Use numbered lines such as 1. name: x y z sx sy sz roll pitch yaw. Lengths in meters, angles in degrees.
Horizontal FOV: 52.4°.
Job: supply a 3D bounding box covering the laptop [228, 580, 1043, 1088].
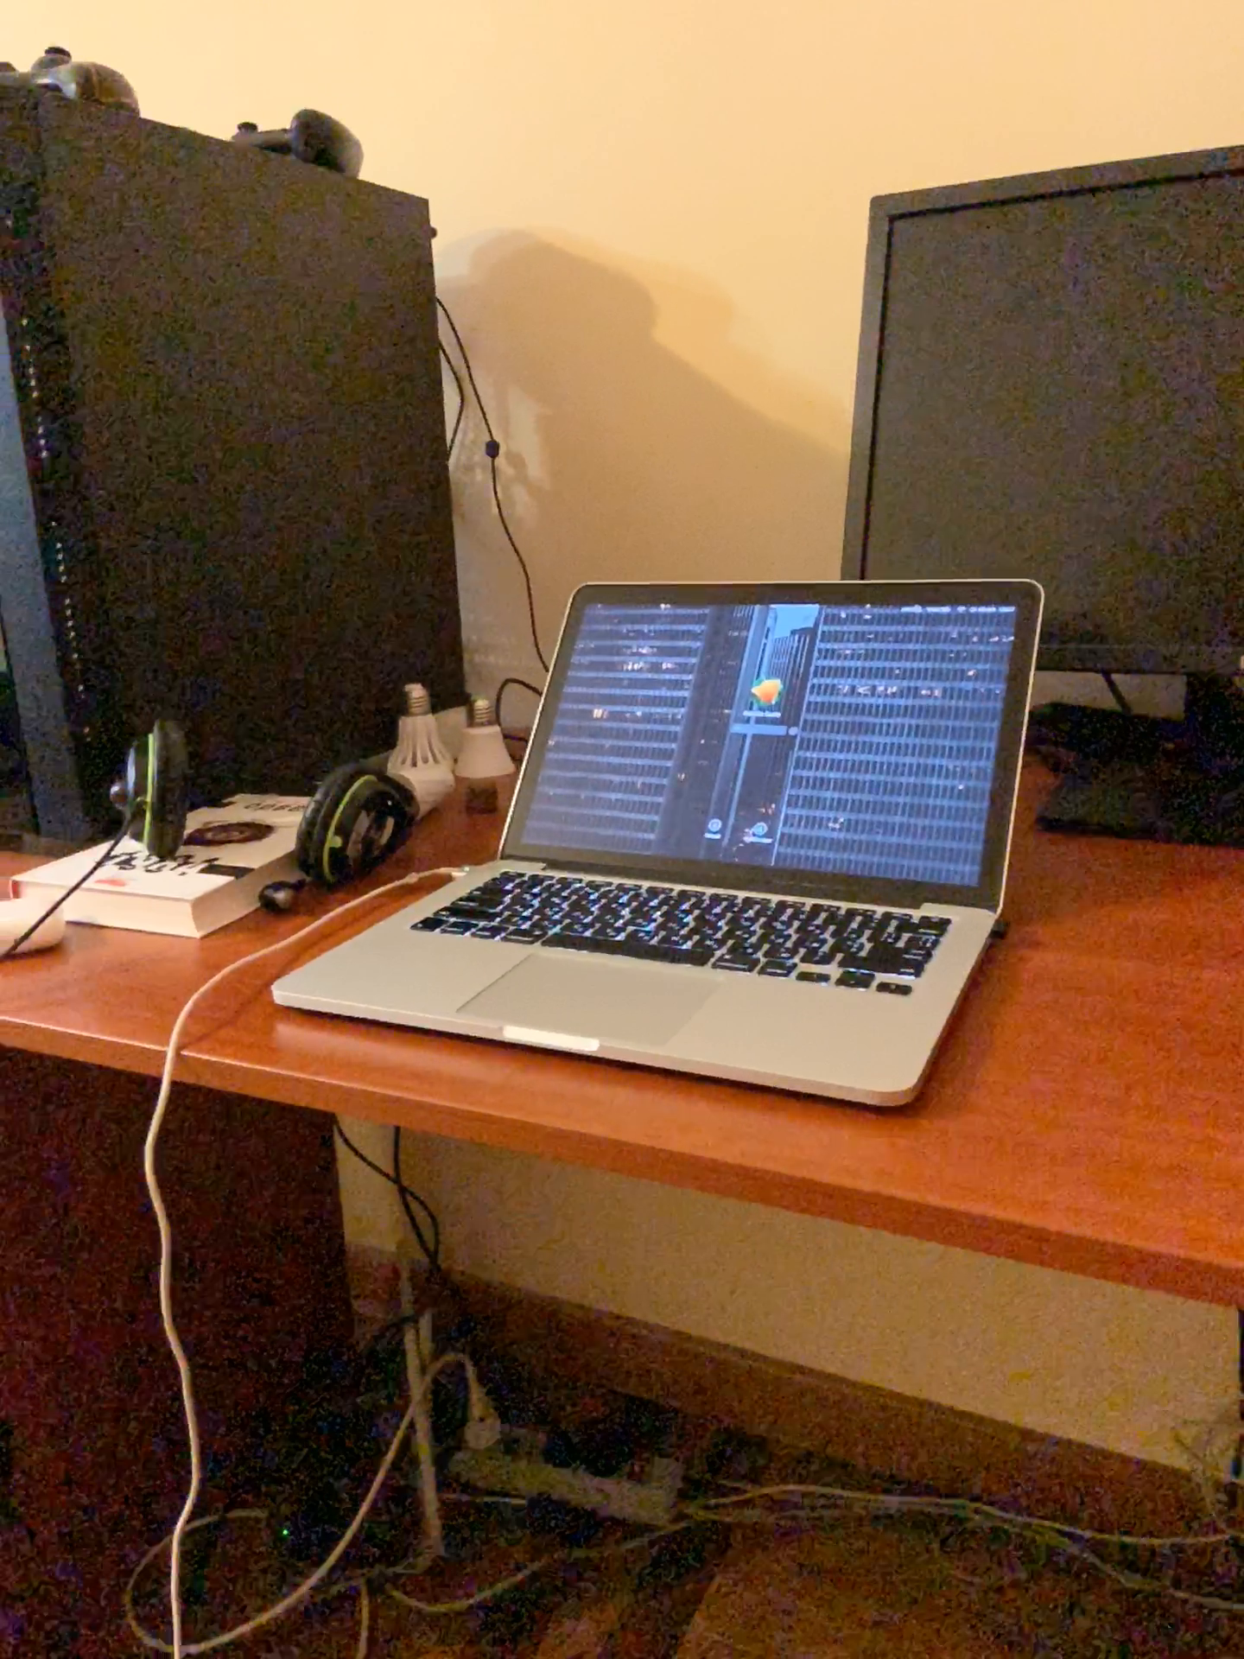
1. laptop: 0.039 -0.035 0.668 0.300 0.155 0.341 5 18 24
